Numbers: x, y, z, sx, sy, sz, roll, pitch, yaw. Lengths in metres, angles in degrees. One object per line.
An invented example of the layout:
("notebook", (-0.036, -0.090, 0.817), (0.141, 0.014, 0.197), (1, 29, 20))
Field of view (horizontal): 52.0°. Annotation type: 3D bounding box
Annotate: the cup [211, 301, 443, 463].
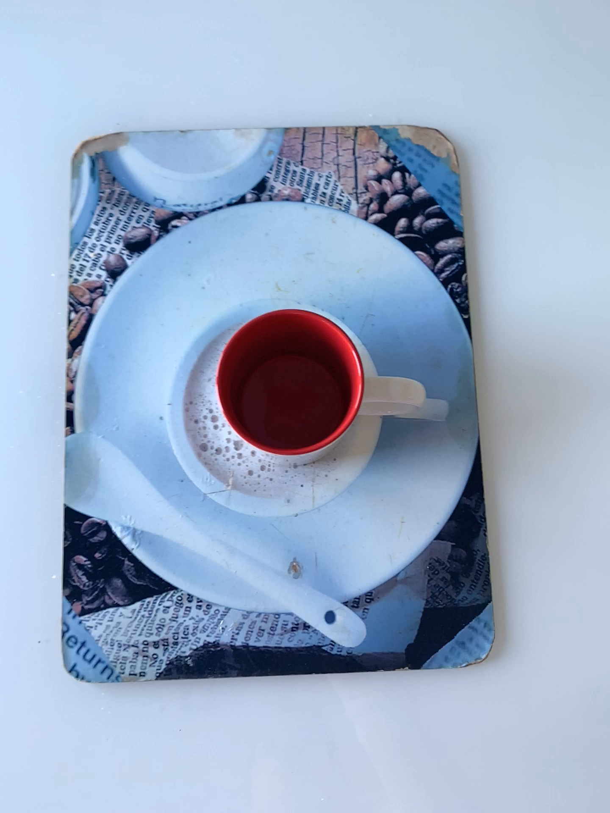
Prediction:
("cup", (0.011, -0.008, 0.378), (0.117, 0.115, 0.077), (0, 81, 0))
